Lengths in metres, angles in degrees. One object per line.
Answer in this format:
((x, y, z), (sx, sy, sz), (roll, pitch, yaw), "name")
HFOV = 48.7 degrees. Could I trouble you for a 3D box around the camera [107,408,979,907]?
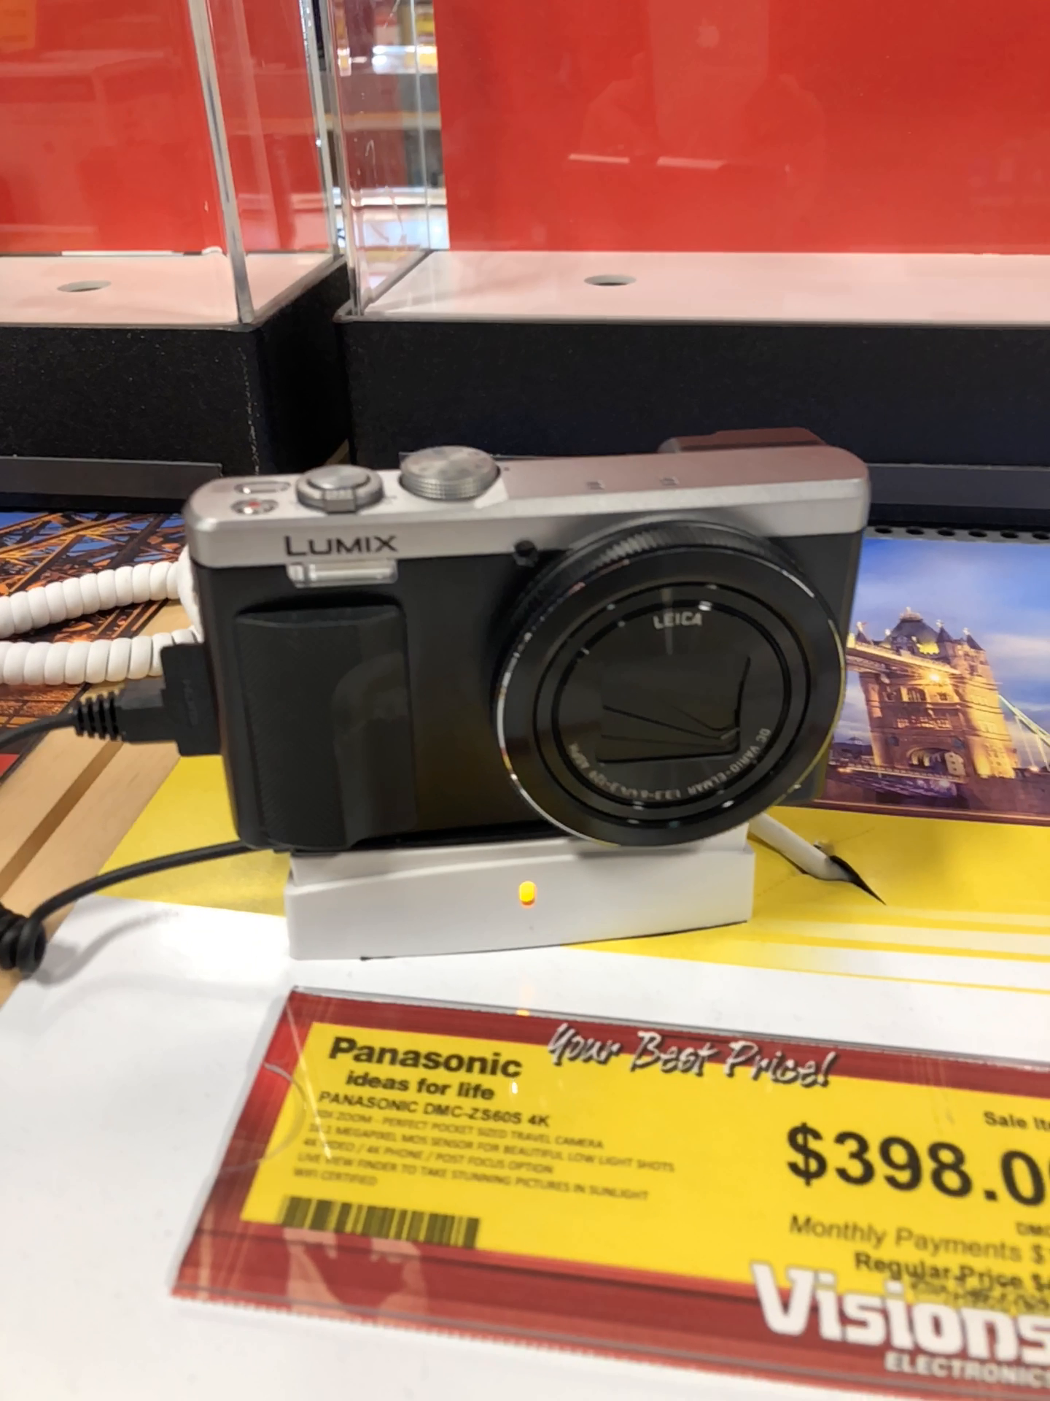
((0.003, -0.009, 0.191), (0.120, 0.060, 0.040), (-5, 31, -5), "camera")
